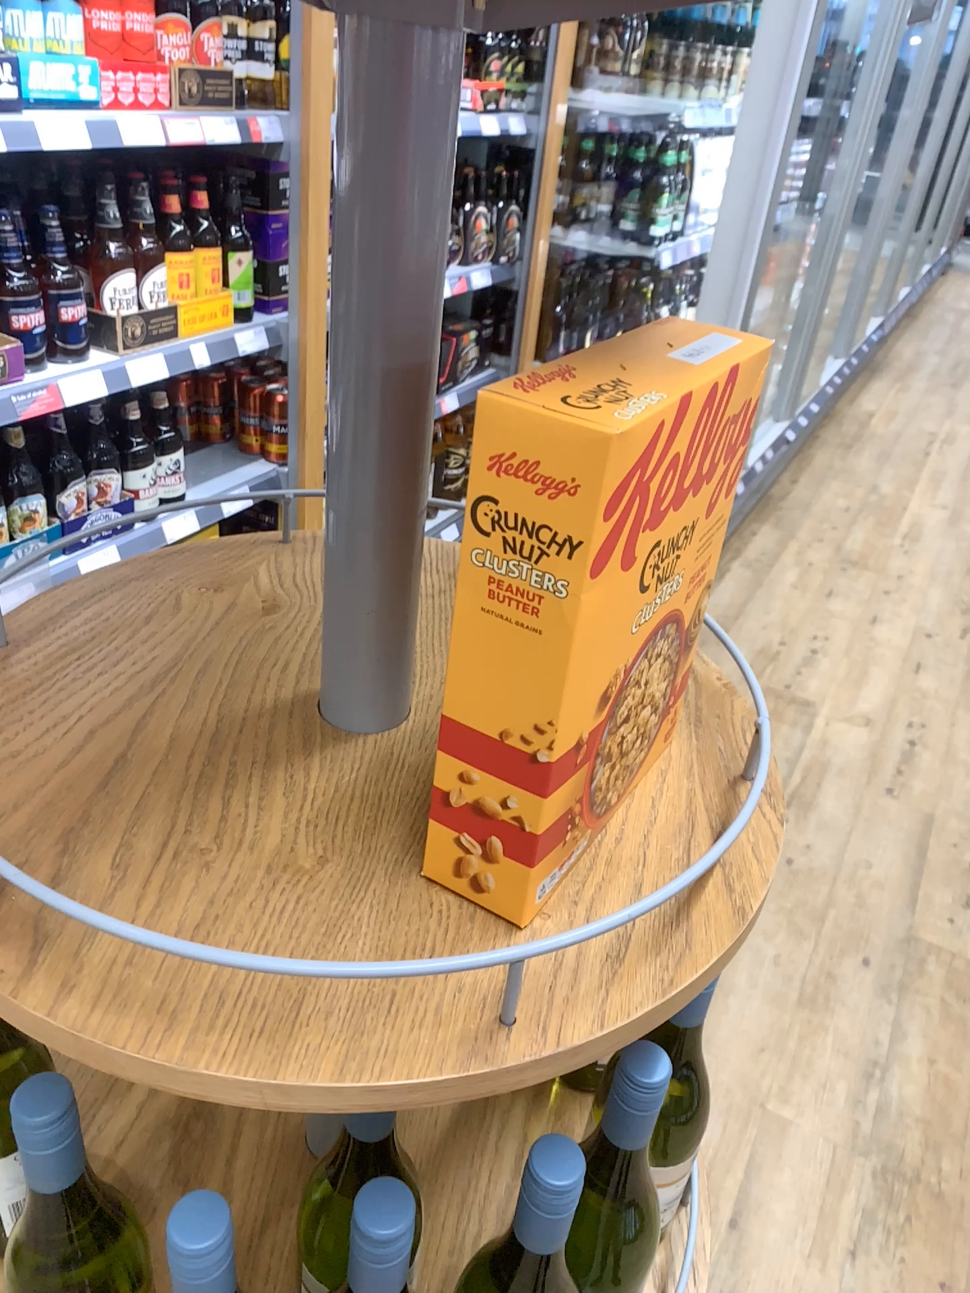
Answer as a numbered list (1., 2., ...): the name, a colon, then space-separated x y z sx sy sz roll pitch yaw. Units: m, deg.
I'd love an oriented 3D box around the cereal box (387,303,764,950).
1. cereal box: 0.045 -0.020 0.473 0.060 0.238 0.212 21 33 22
